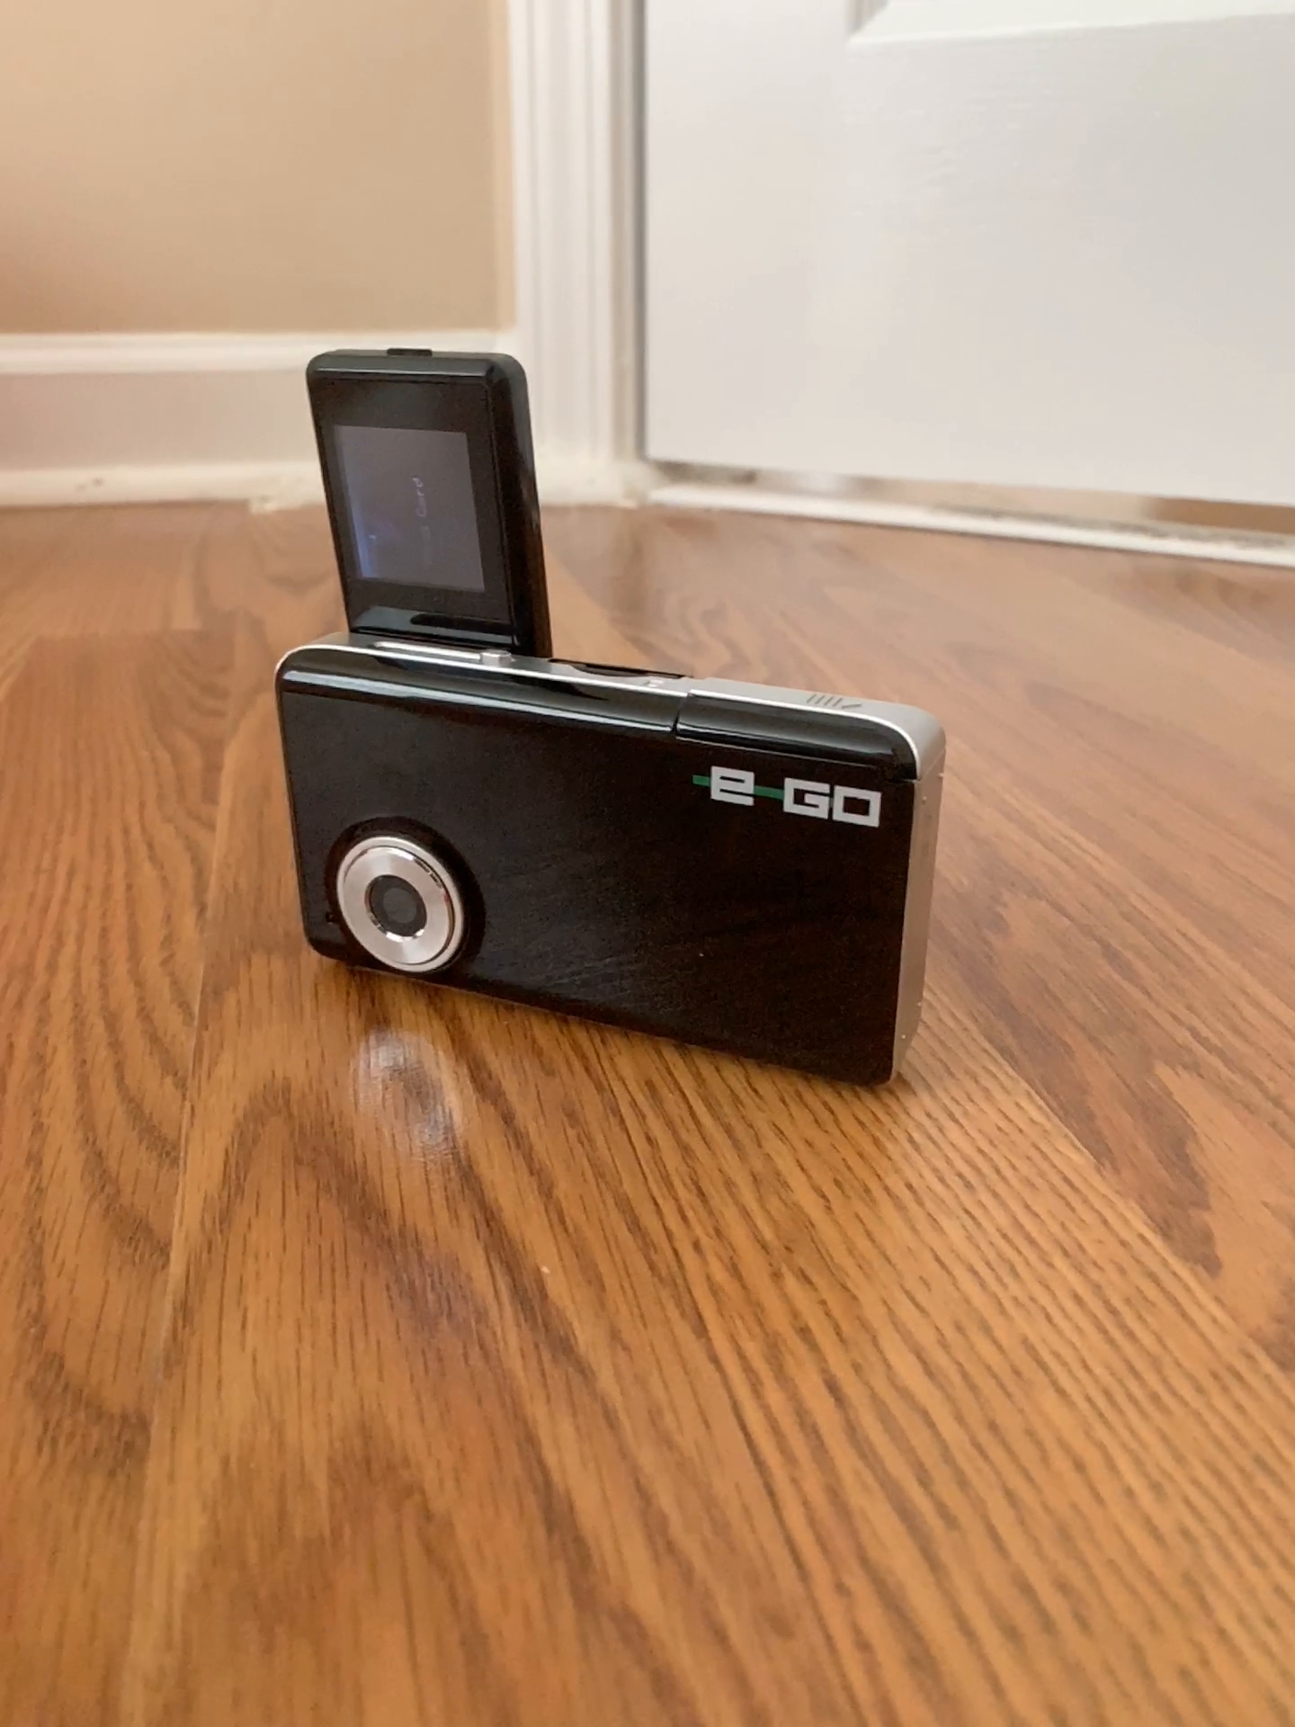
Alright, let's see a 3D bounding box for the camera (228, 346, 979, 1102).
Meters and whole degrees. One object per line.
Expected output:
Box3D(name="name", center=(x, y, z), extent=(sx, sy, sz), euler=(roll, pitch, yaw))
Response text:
Box3D(name="camera", center=(-0.011, -0.027, 0.229), extent=(0.119, 0.111, 0.022), euler=(11, 25, 23))
